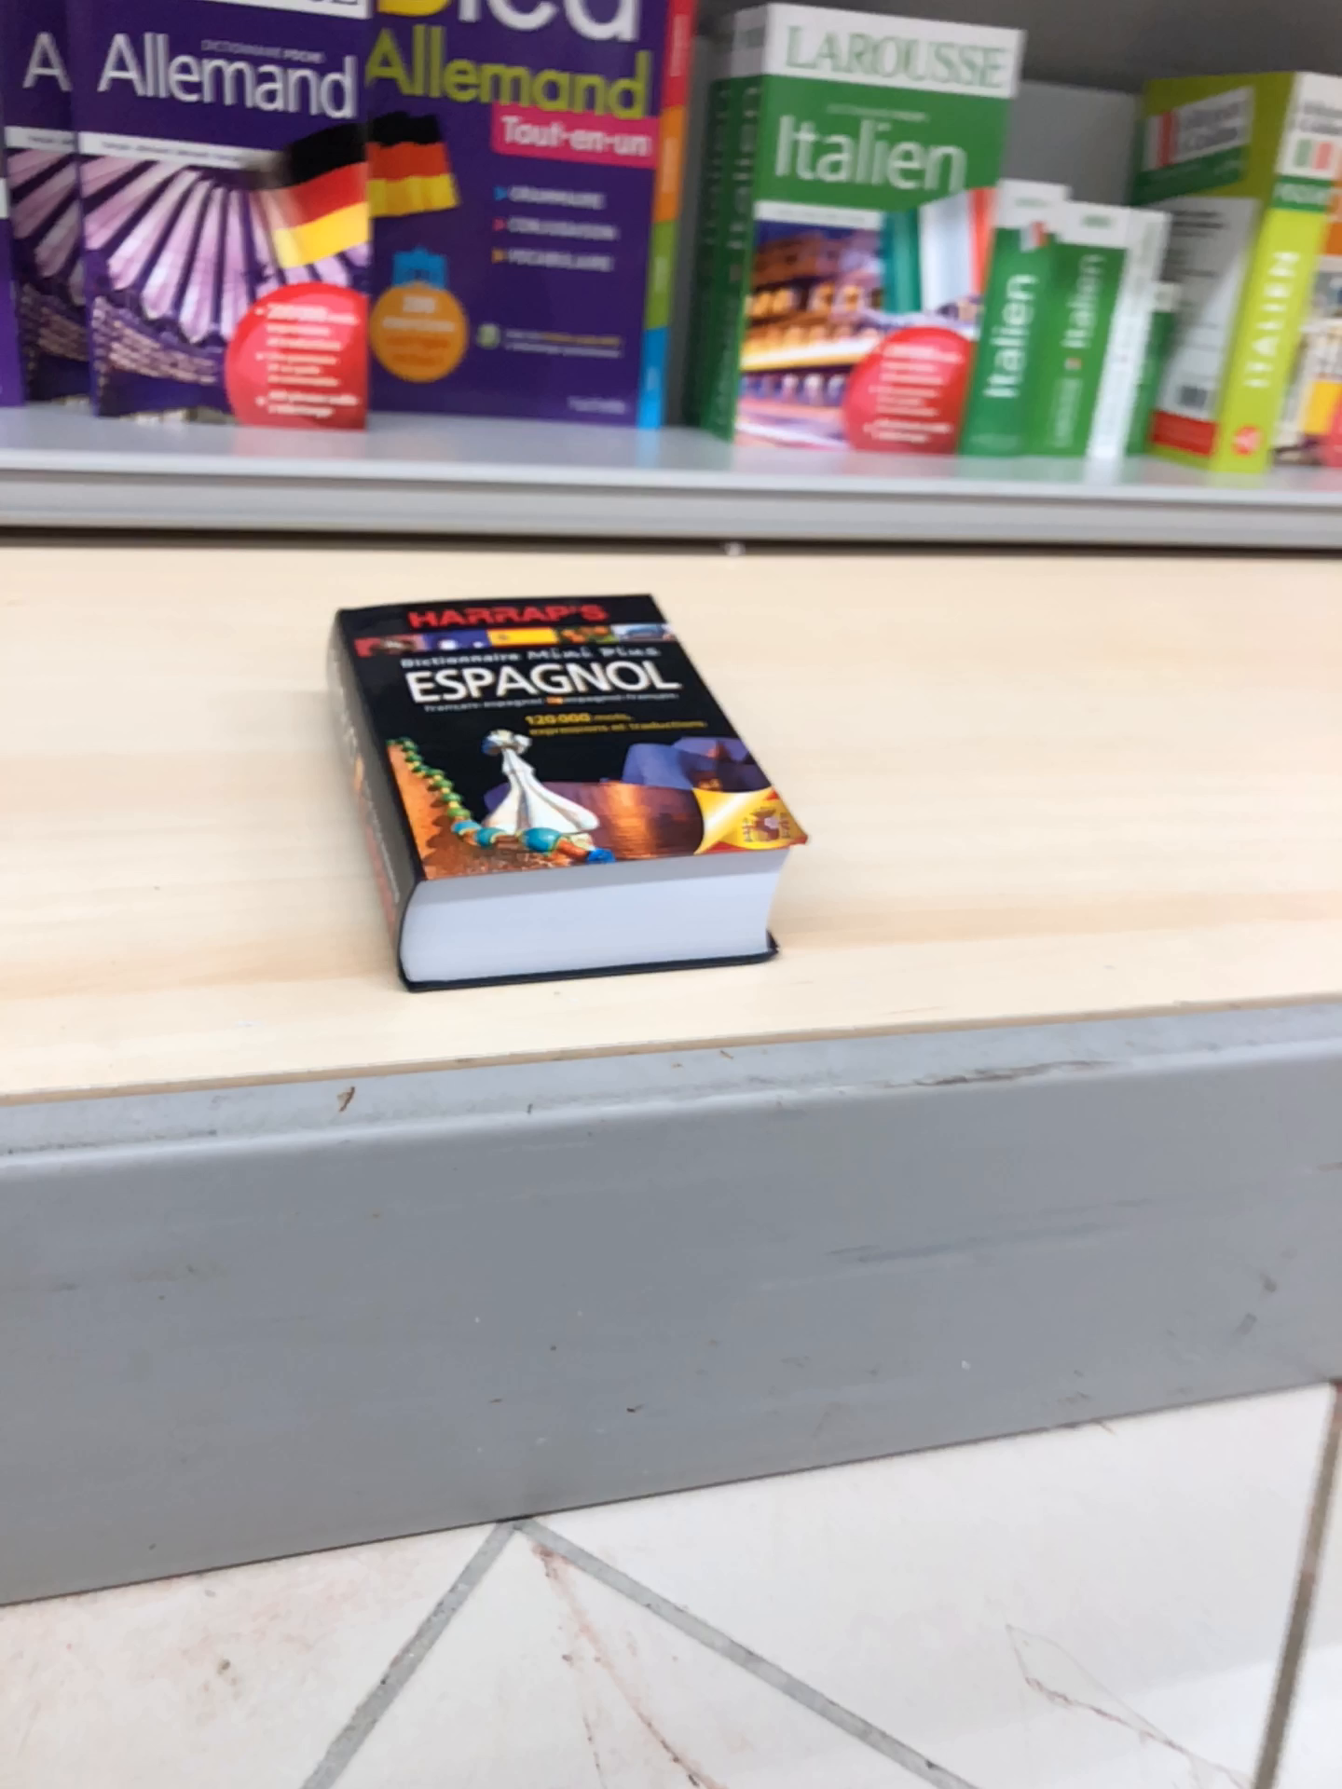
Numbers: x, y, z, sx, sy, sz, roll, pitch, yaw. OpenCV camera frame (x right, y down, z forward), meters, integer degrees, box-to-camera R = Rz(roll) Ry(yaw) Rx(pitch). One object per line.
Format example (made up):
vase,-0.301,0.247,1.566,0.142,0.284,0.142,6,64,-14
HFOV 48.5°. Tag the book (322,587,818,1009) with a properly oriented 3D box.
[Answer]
book,-0.036,-0.035,0.412,0.103,0.038,0.146,-5,37,-17
